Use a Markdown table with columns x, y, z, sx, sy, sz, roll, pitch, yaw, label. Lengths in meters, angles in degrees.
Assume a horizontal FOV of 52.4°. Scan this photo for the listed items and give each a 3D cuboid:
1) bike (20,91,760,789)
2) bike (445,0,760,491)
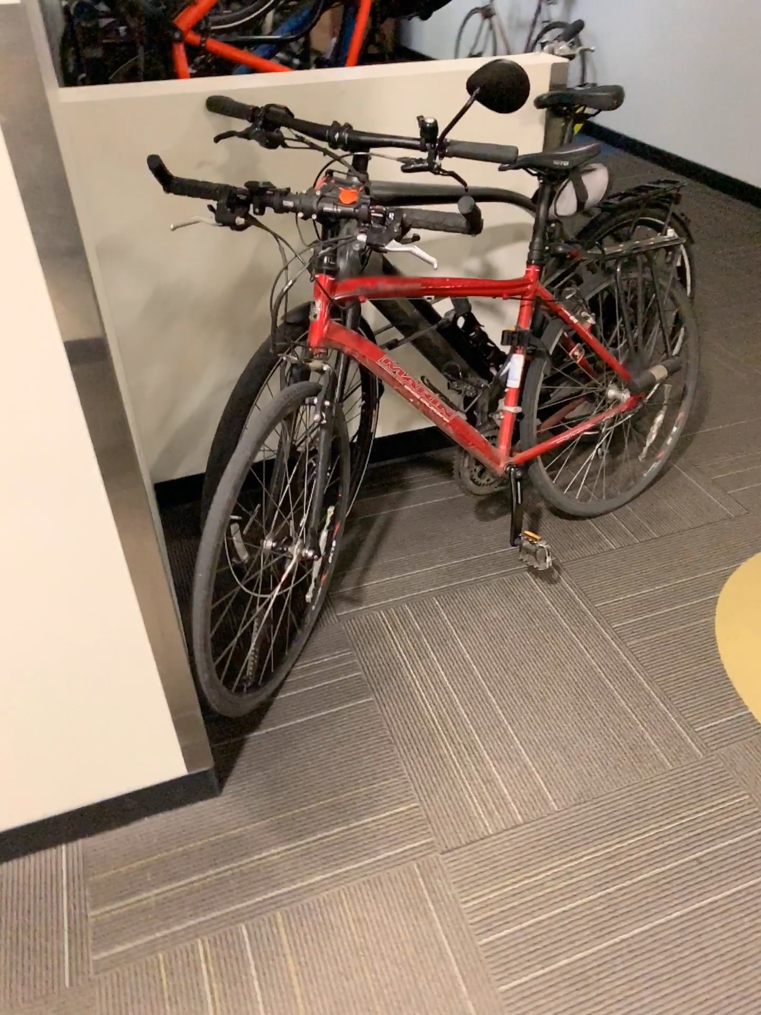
| x | y | z | sx | sy | sz | roll | pitch | yaw | label |
| --- | --- | --- | --- | --- | --- | --- | --- | --- | --- |
| 0.239 | -0.325 | 1.707 | 1.615 | 0.927 | 0.605 | -27 | 45 | -35 | bike |
| 0.670 | -0.727 | 2.194 | 0.727 | 1.149 | 0.695 | -24 | 43 | -35 | bike |
